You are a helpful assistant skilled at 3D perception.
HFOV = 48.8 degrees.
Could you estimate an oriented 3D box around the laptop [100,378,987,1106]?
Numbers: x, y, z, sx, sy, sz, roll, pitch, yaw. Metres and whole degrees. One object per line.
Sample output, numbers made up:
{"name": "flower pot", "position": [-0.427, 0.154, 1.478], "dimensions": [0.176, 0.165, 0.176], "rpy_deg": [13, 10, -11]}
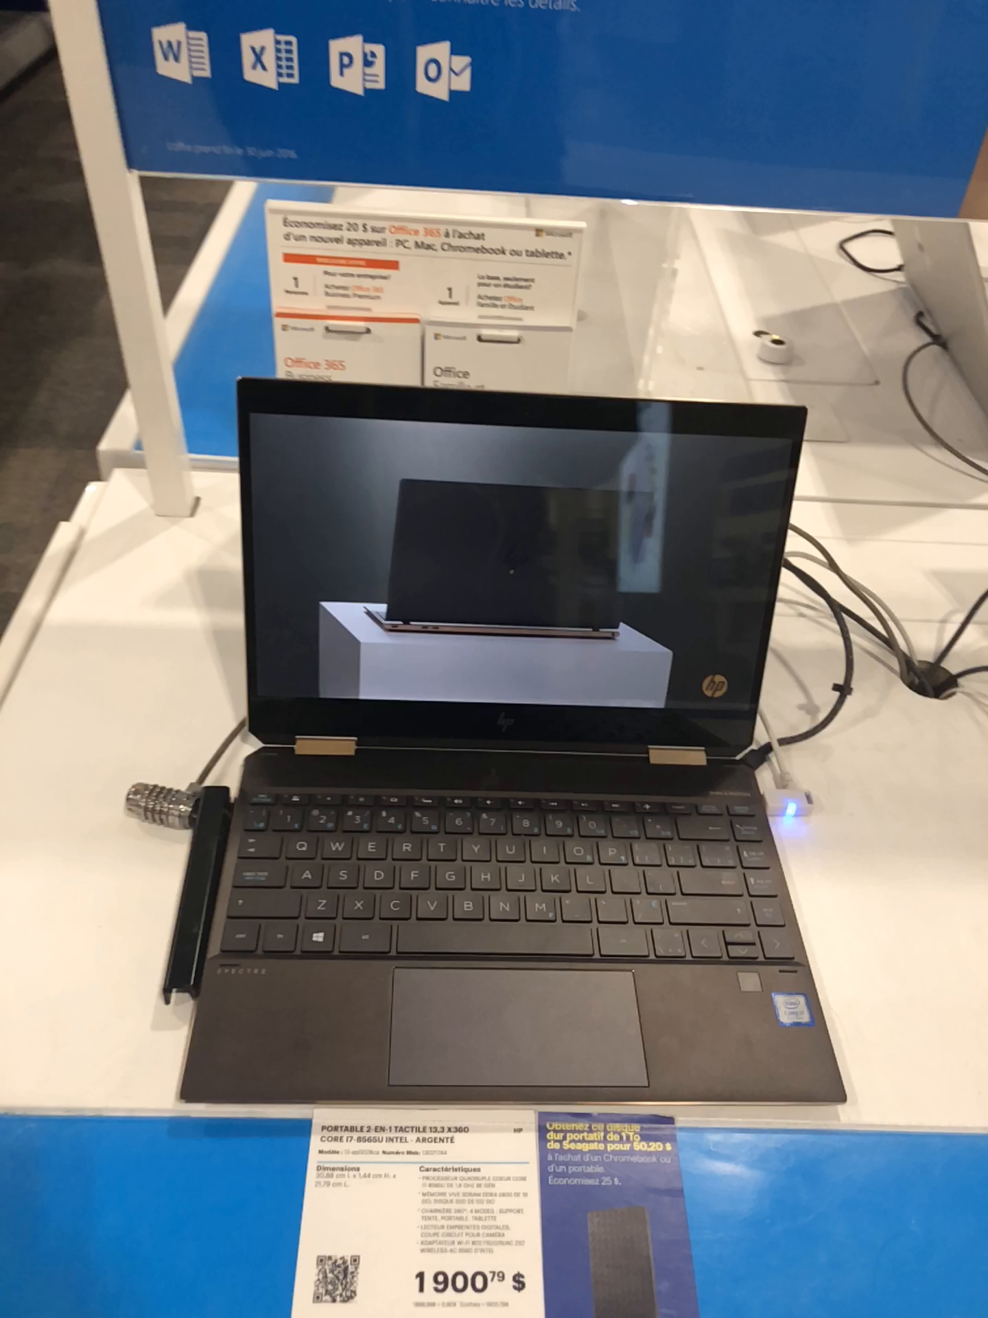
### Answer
{"name": "laptop", "position": [0.011, 0.030, 0.535], "dimensions": [0.297, 0.197, 0.286], "rpy_deg": [2, 41, -4]}
